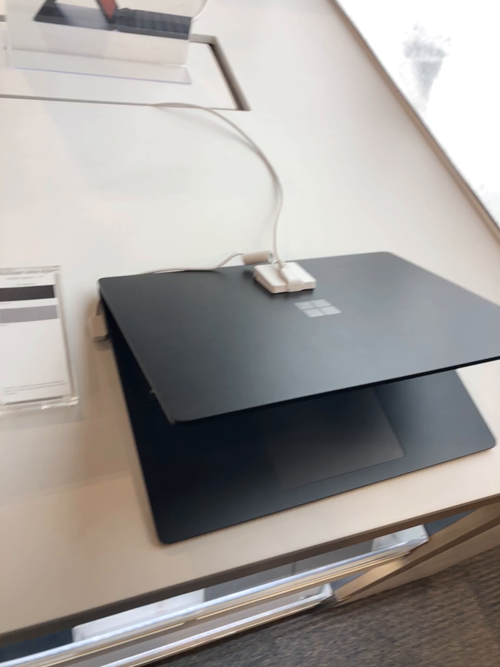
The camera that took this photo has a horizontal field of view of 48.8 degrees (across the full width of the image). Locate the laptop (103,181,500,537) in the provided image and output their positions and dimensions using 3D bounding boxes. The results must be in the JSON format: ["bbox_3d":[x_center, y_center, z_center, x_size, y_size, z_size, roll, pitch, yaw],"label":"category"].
[{"bbox_3d":[0.052,-0.001,0.417,0.285,0.086,0.191,-10,66,-25],"label":"laptop"}]
